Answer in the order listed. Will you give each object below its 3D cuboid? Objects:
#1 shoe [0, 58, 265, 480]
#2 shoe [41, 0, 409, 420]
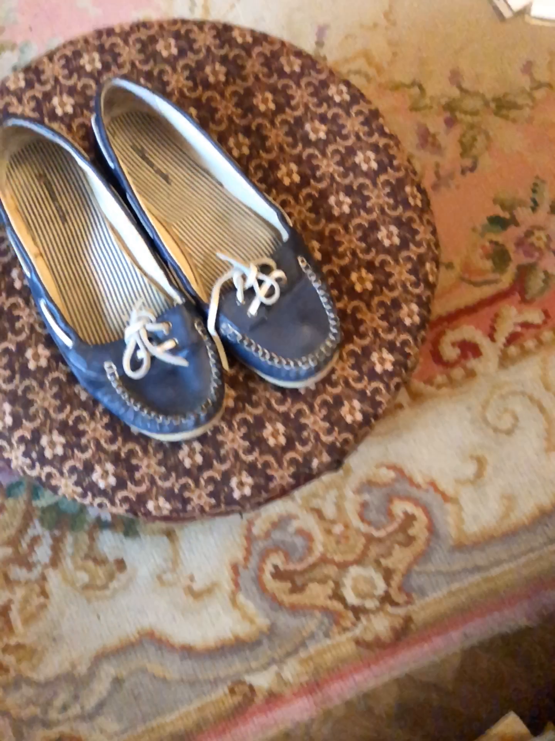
[{"bbox_3d":[-0.117,-0.059,0.408,0.090,0.100,0.250,-32,79,-2],"label":"shoe"},{"bbox_3d":[-0.035,-0.099,0.404,0.090,0.090,0.250,-34,85,-9],"label":"shoe"}]
